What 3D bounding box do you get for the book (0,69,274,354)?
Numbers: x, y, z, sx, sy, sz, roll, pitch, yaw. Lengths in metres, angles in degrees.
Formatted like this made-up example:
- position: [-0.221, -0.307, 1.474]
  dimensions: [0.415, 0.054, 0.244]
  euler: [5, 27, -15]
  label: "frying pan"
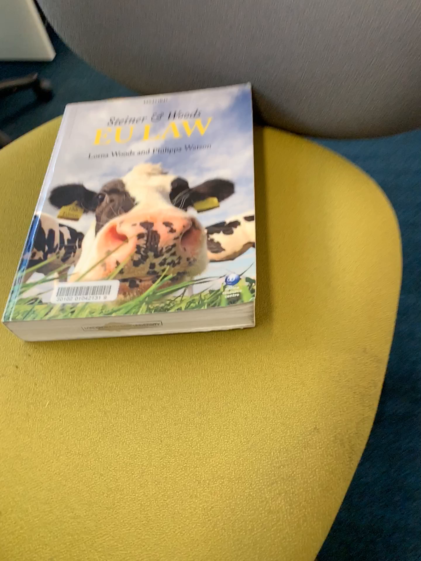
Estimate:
- position: [-0.057, -0.073, 0.368]
  dimensions: [0.200, 0.050, 0.261]
  euler: [-4, 56, 6]
  label: "book"
